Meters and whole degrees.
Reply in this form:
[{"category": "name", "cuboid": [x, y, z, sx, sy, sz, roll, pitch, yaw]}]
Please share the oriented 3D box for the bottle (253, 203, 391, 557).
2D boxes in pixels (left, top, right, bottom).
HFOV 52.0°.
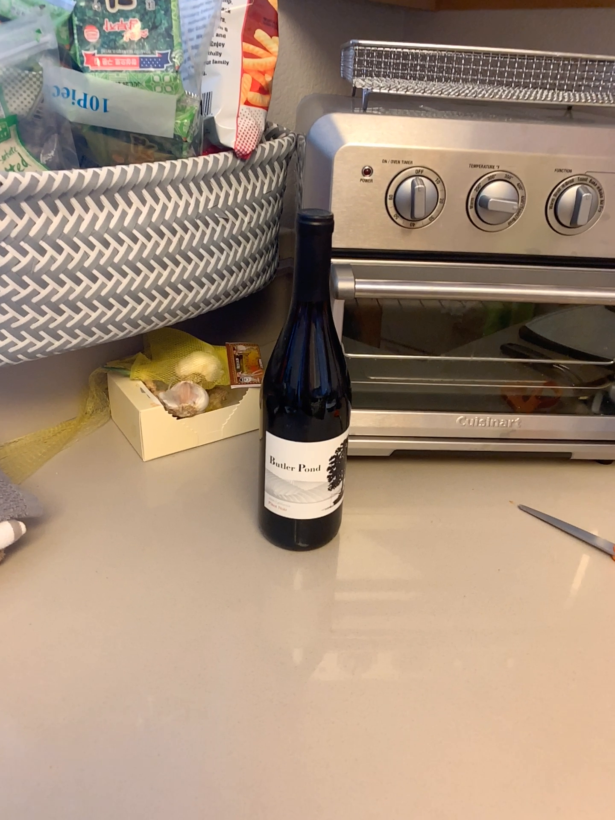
[{"category": "bottle", "cuboid": [0.002, -0.016, 0.493, 0.080, 0.268, 0.070, -3, 29, -11]}]
